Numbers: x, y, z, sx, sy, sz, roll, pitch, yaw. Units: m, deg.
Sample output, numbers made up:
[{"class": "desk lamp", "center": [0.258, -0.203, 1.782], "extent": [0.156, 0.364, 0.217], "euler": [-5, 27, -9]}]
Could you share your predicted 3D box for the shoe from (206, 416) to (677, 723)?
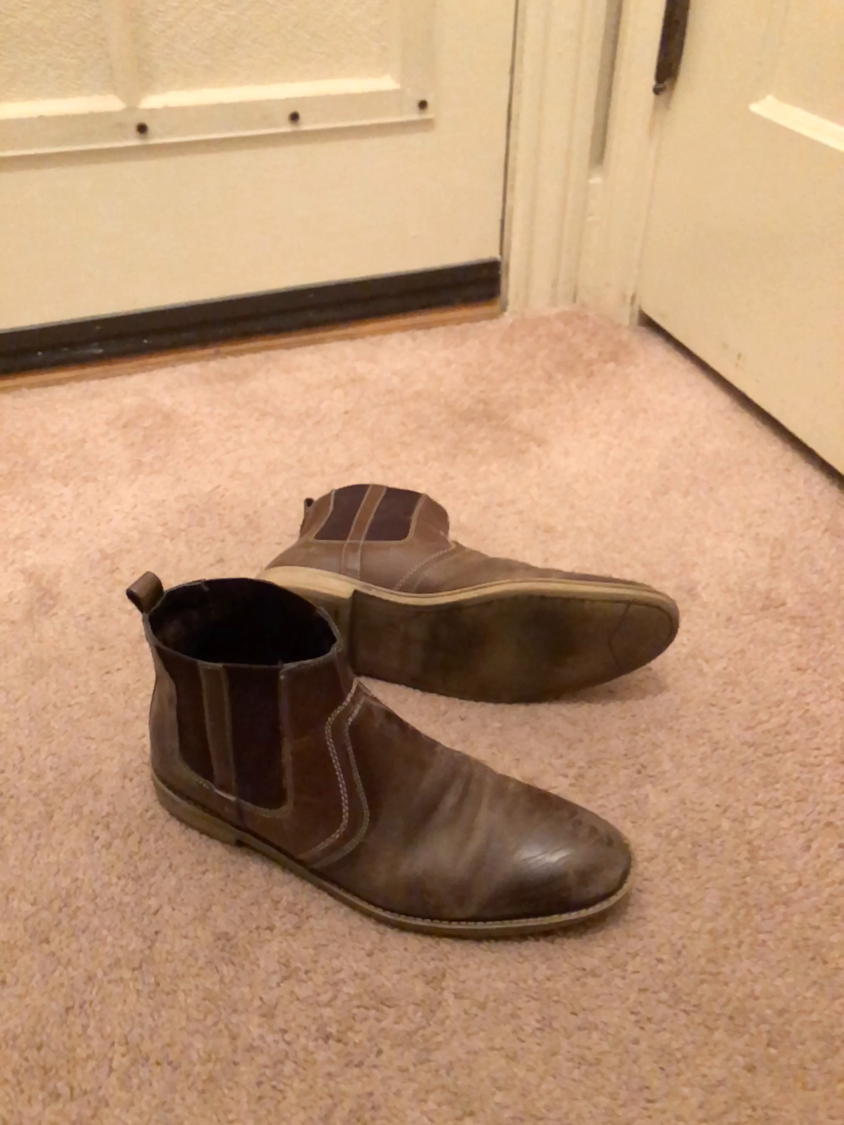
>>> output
[{"class": "shoe", "center": [0.022, -0.003, 0.722], "extent": [0.313, 0.114, 0.187], "euler": [5, 41, 6]}]

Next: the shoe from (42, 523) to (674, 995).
[{"class": "shoe", "center": [-0.031, 0.109, 0.540], "extent": [0.308, 0.175, 0.116], "euler": [11, 41, 13]}]
